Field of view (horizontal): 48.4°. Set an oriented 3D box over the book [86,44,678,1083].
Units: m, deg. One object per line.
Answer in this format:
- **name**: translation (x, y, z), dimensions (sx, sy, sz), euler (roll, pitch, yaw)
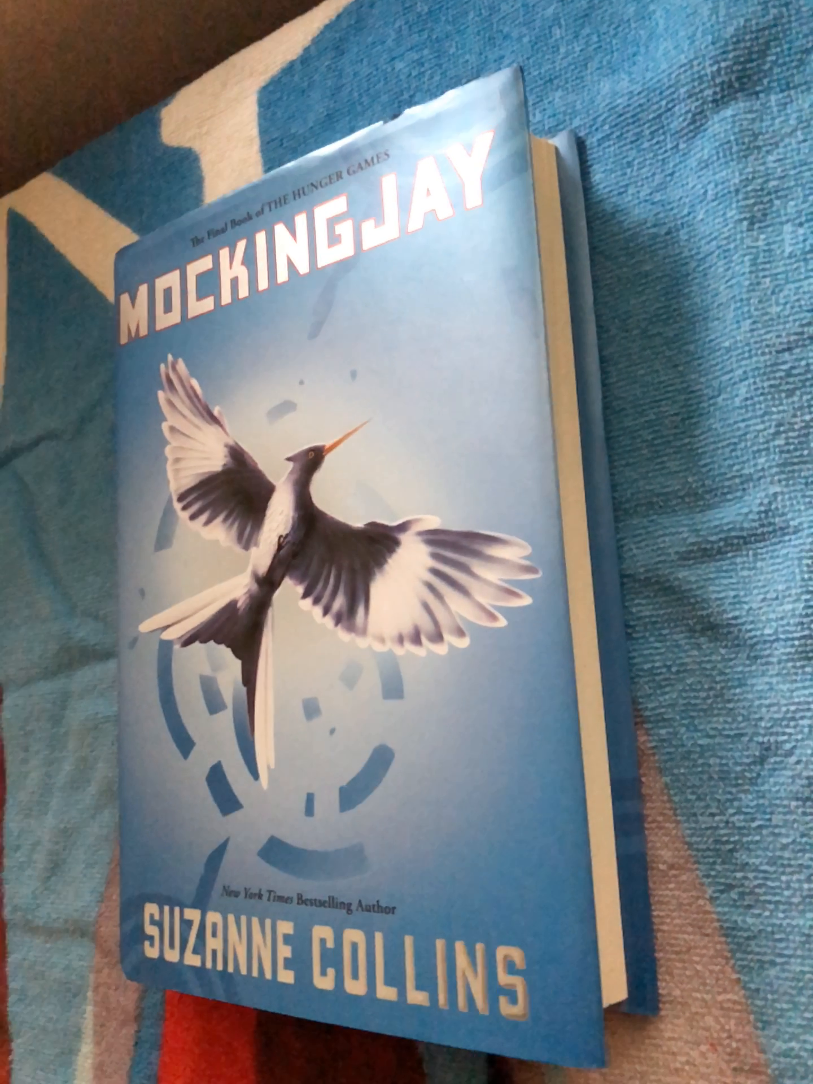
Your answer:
- **book**: translation (-0.019, 0.007, 0.225), dimensions (0.141, 0.040, 0.200), euler (-10, 78, 34)
